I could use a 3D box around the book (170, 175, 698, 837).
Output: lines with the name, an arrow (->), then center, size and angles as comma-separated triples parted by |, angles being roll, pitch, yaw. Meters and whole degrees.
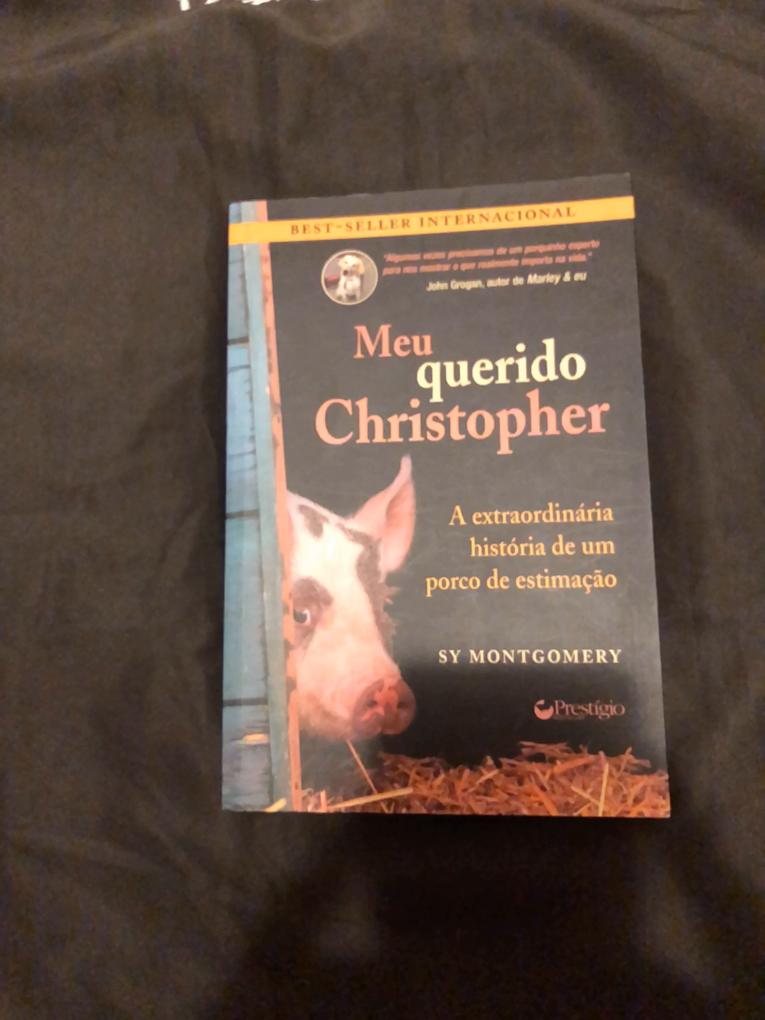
book -> 0.012, -0.003, 0.301 | 0.170, 0.020, 0.220 | -3, 83, 4
